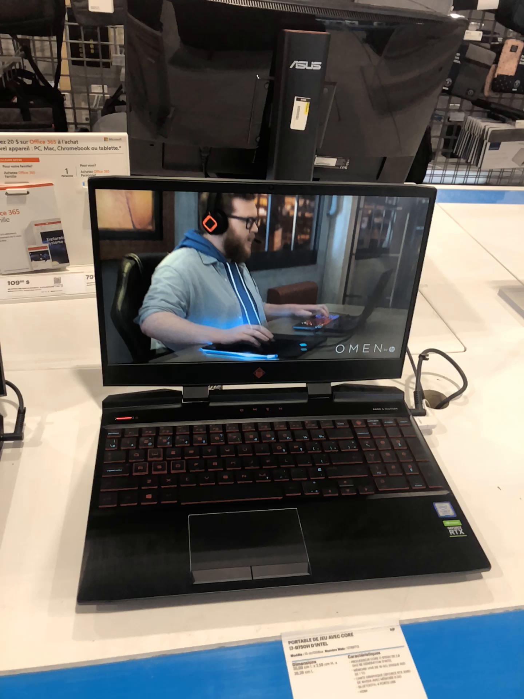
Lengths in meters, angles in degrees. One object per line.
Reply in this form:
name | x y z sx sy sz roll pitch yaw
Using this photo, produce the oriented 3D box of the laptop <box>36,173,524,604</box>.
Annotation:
laptop | 0.018 0.011 0.541 0.355 0.239 0.294 -1 36 -9
